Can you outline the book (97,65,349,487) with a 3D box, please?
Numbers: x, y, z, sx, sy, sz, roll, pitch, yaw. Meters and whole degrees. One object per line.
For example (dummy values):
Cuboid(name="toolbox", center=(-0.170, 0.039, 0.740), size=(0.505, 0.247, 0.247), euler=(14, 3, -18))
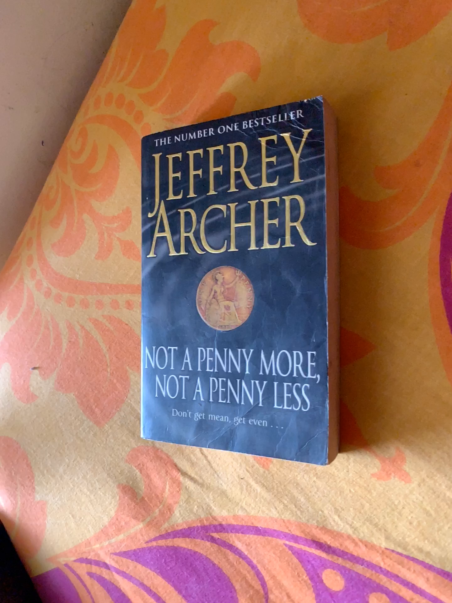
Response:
Cuboid(name="book", center=(-0.003, -0.010, 0.215), size=(0.110, 0.030, 0.160), euler=(-1, 84, 27))
